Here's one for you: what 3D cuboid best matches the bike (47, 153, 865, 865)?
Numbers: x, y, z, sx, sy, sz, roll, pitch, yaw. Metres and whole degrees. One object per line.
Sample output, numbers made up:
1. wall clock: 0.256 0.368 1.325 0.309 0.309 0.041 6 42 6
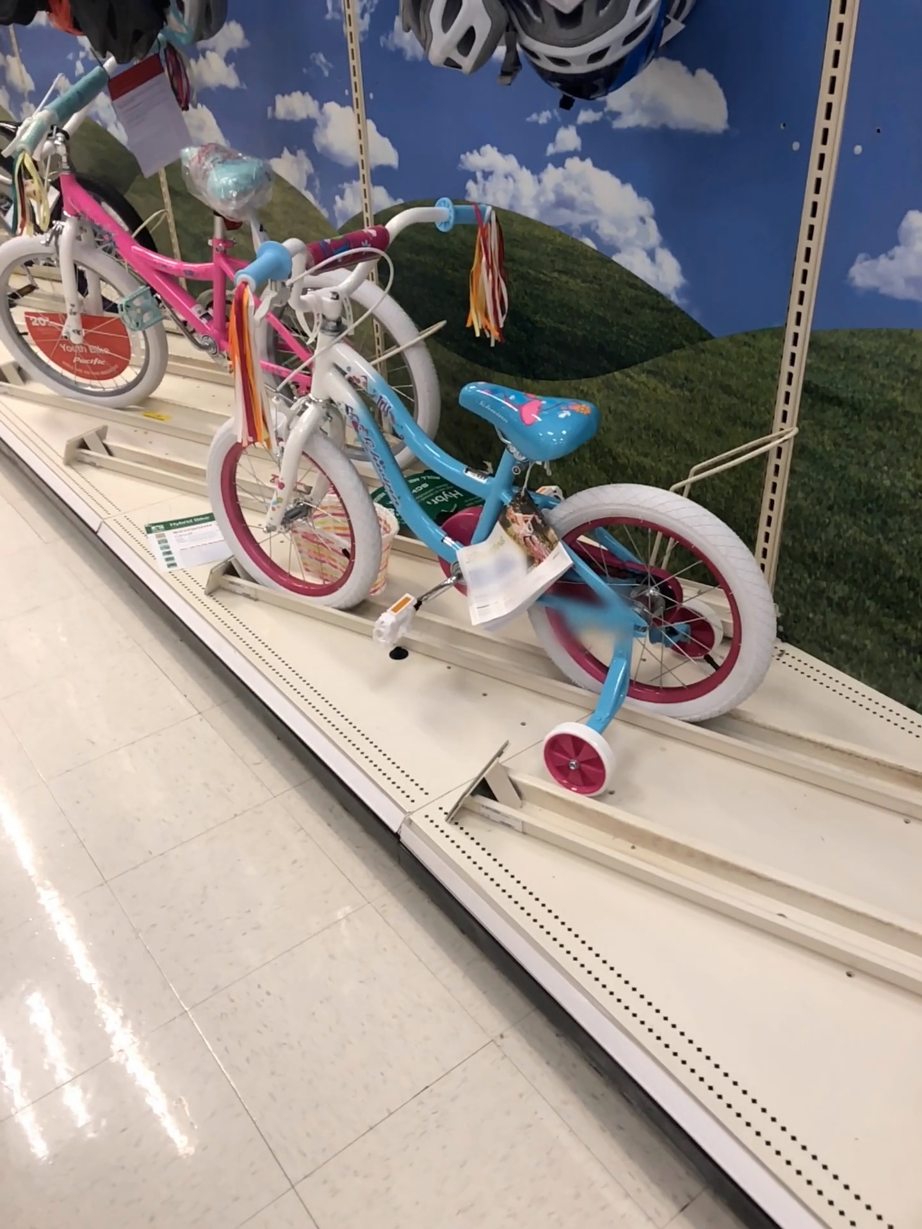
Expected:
1. bike: -0.013 -0.259 1.627 1.092 0.723 0.534 18 38 27
